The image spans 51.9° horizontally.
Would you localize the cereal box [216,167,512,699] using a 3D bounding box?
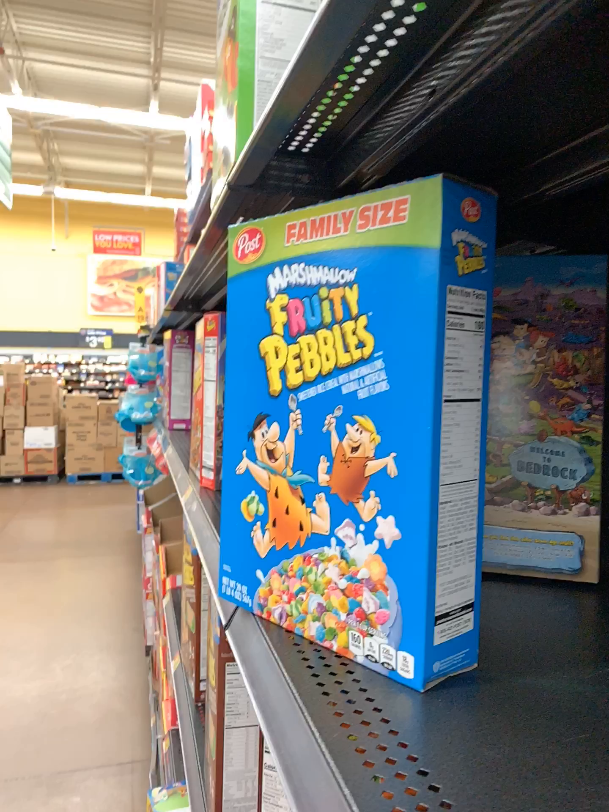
[{"bbox_3d":[0.031,0.012,0.493,0.070,0.330,0.230,-1,4,-44],"label":"cereal box"}]
